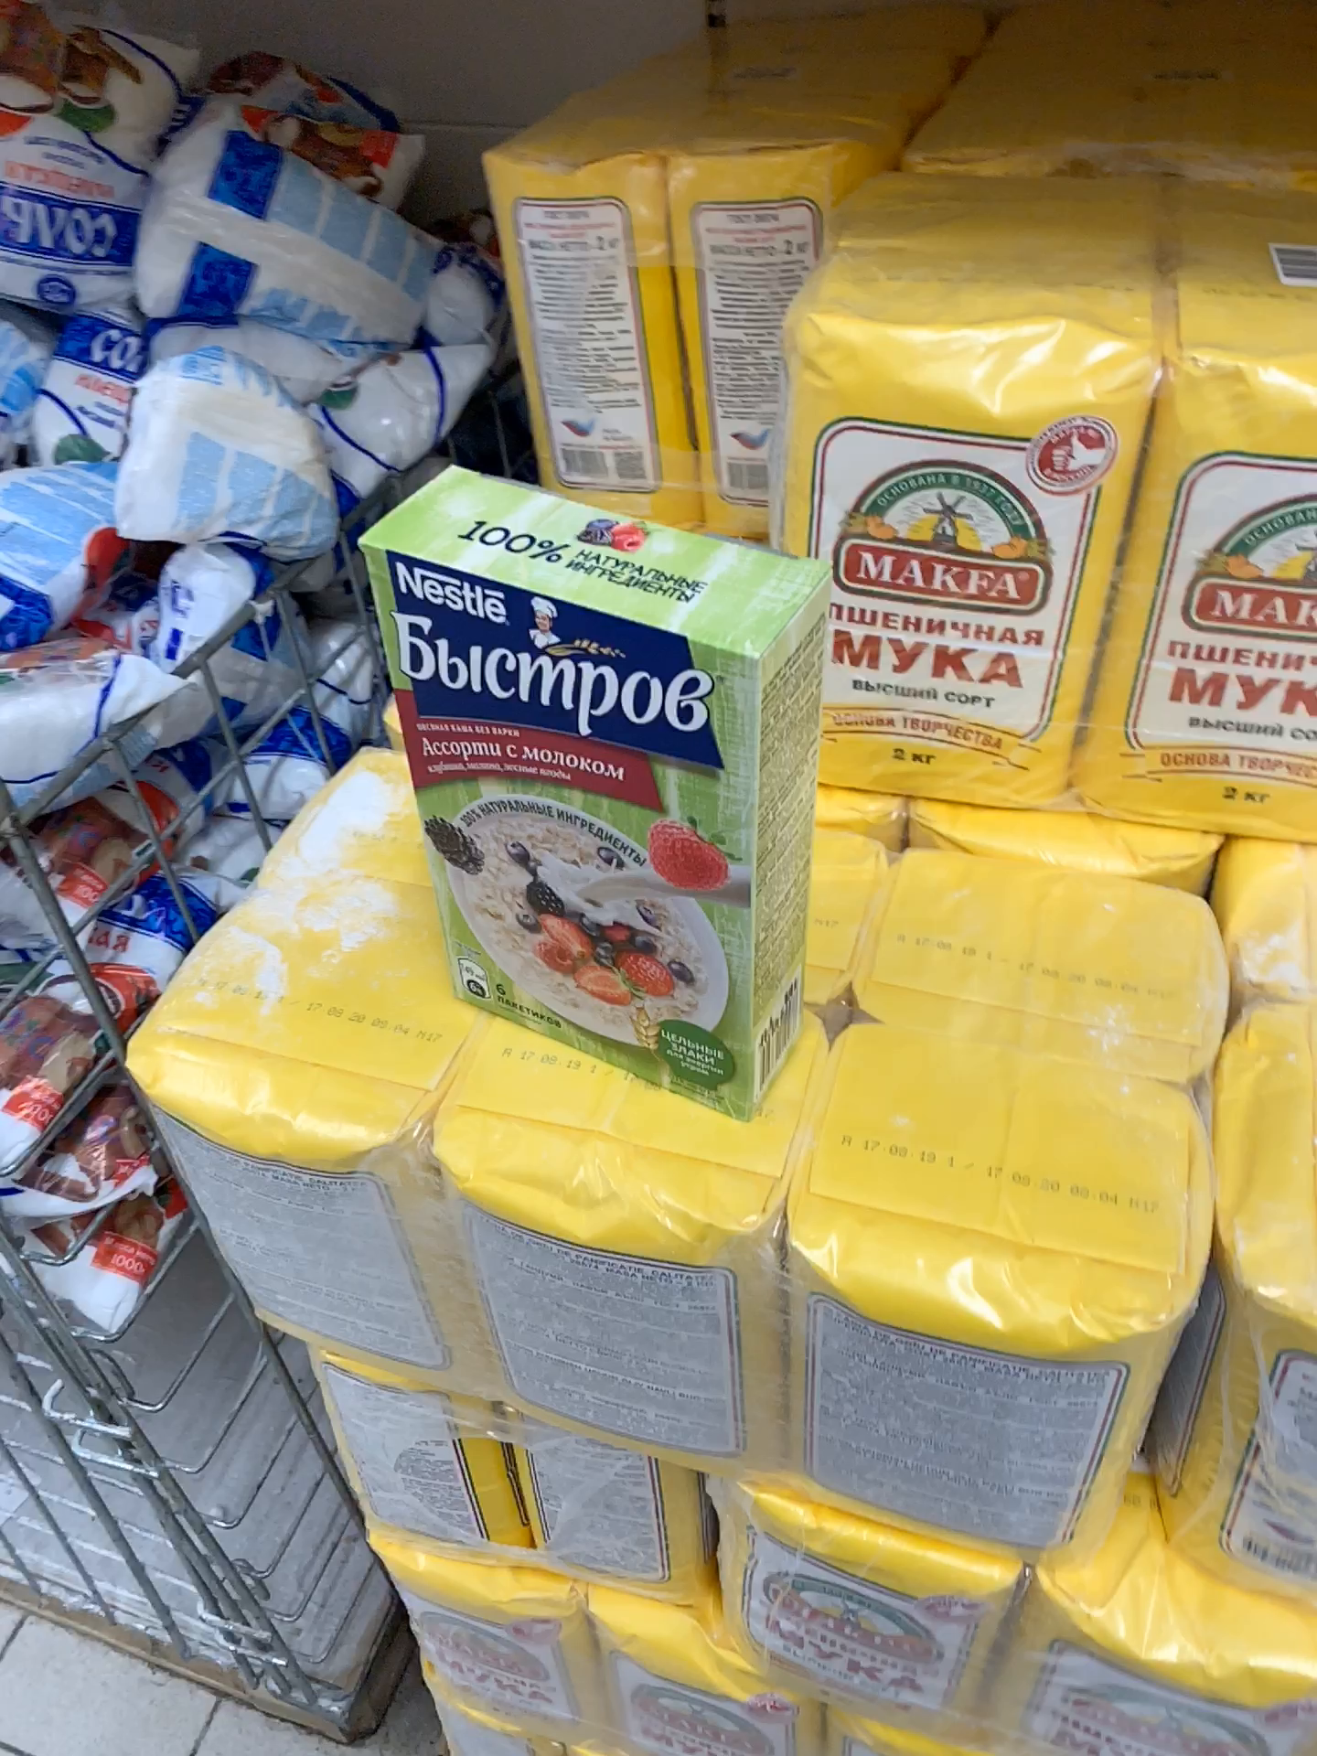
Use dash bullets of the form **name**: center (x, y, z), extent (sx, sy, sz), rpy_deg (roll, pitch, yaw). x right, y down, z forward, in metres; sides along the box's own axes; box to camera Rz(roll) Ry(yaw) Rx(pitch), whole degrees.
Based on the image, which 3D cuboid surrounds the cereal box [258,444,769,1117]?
- **cereal box**: center (-0.033, -0.022, 0.400), extent (0.120, 0.178, 0.050), rpy_deg (20, 50, 22)
